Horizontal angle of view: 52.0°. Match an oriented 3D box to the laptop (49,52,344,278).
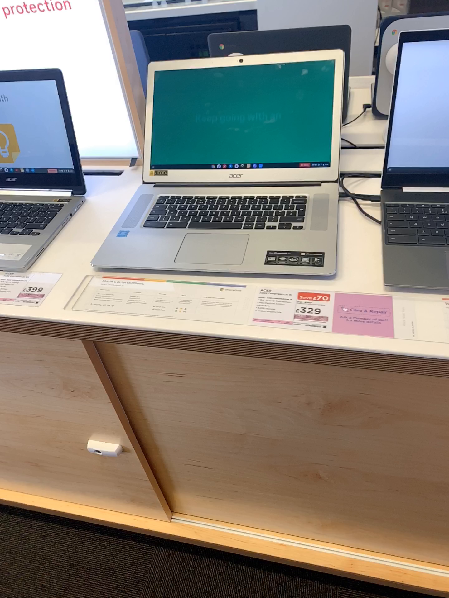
[{"bbox_3d":[0.003,-0.247,0.776,0.375,0.168,0.433,3,43,12],"label":"laptop"}]
